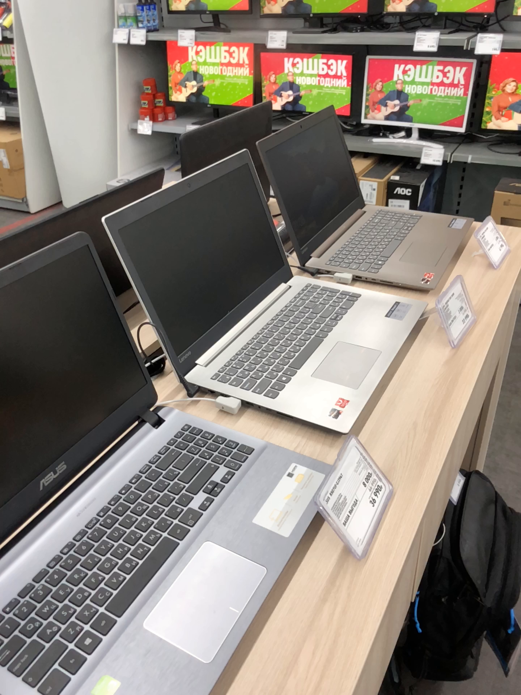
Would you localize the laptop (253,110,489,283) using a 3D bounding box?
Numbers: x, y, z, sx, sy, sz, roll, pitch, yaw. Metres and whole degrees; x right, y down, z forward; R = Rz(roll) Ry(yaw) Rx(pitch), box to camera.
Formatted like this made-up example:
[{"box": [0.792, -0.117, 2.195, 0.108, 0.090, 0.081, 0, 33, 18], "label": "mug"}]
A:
[{"box": [0.233, -0.324, 1.154, 0.326, 0.222, 0.358, 13, 35, 22], "label": "laptop"}]

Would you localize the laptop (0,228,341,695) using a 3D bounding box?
[{"box": [-0.133, 0.080, 0.528, 0.319, 0.232, 0.328, 15, 36, 25], "label": "laptop"}]

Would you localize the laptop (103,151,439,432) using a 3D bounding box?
[{"box": [0.038, -0.118, 0.847, 0.335, 0.220, 0.367, 15, 36, 24], "label": "laptop"}]
